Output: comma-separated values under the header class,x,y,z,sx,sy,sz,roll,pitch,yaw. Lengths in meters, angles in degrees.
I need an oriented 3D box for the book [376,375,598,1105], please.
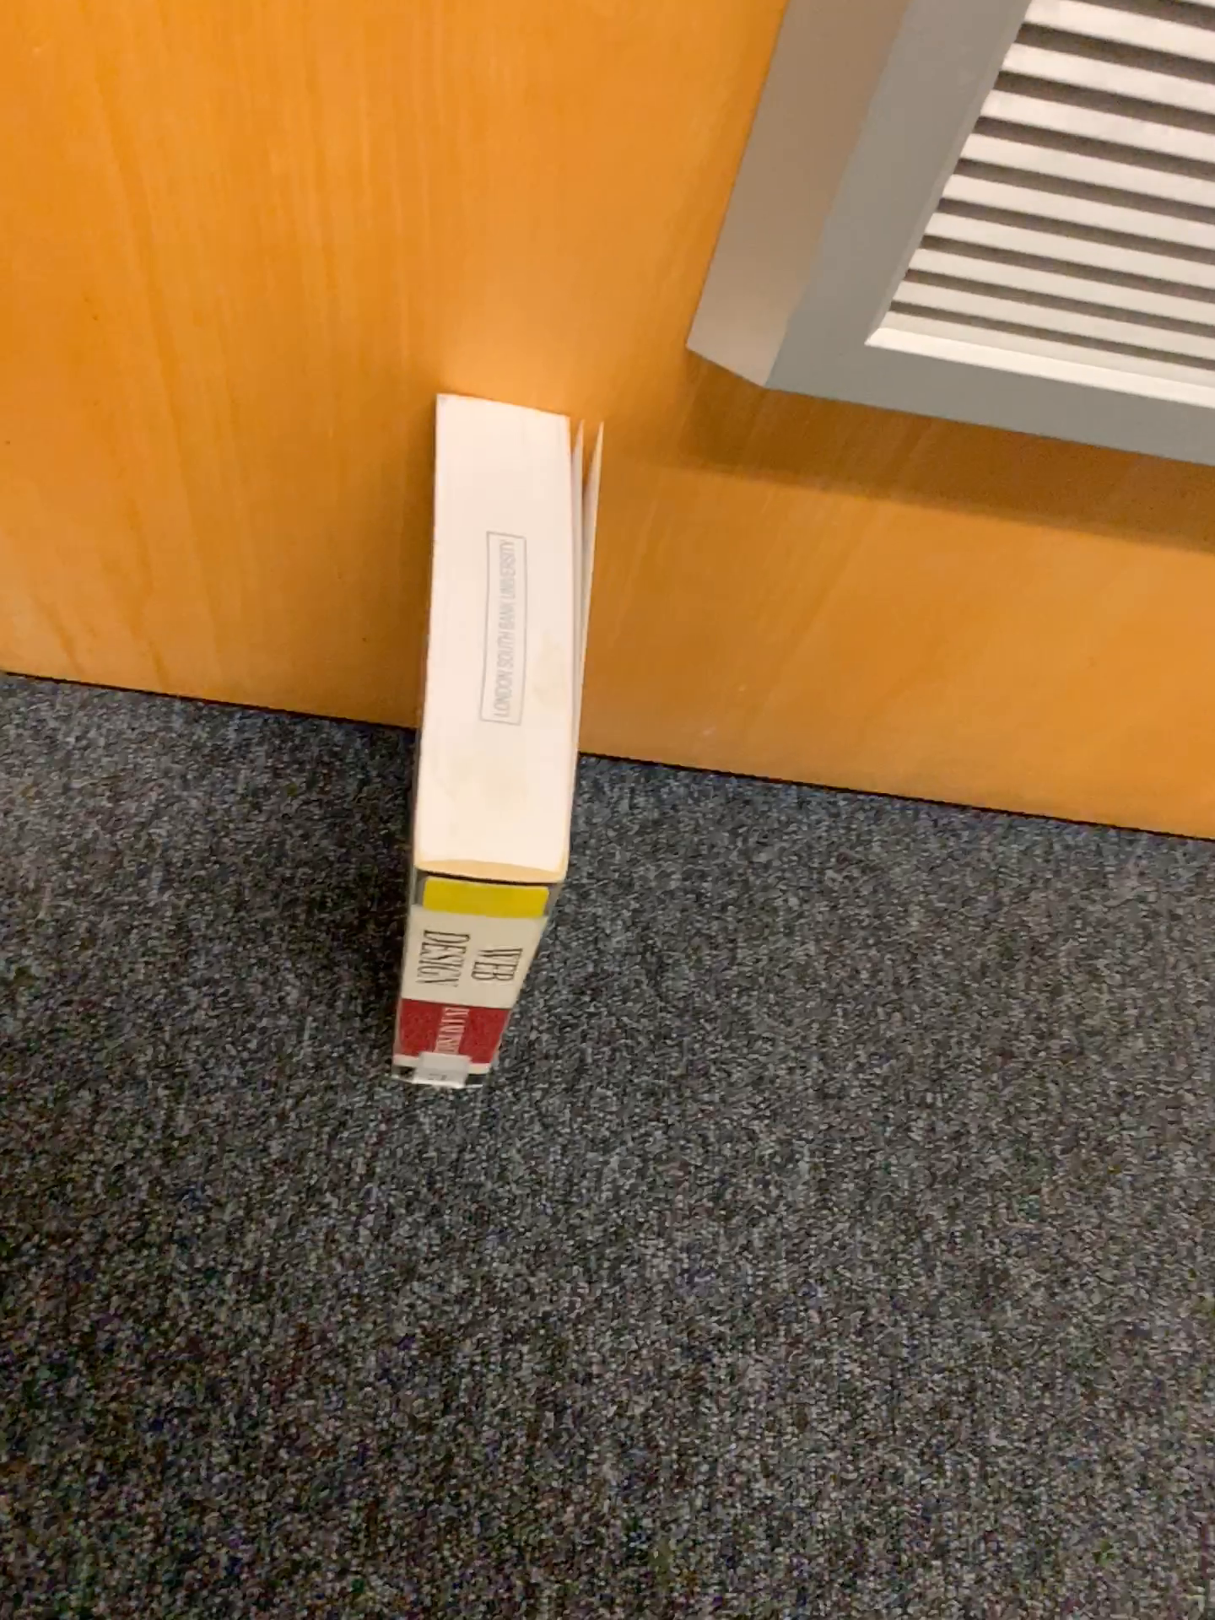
class,x,y,z,sx,sy,sz,roll,pitch,yaw
book,-0.049,-0.005,0.447,0.050,0.229,0.171,5,64,-8
